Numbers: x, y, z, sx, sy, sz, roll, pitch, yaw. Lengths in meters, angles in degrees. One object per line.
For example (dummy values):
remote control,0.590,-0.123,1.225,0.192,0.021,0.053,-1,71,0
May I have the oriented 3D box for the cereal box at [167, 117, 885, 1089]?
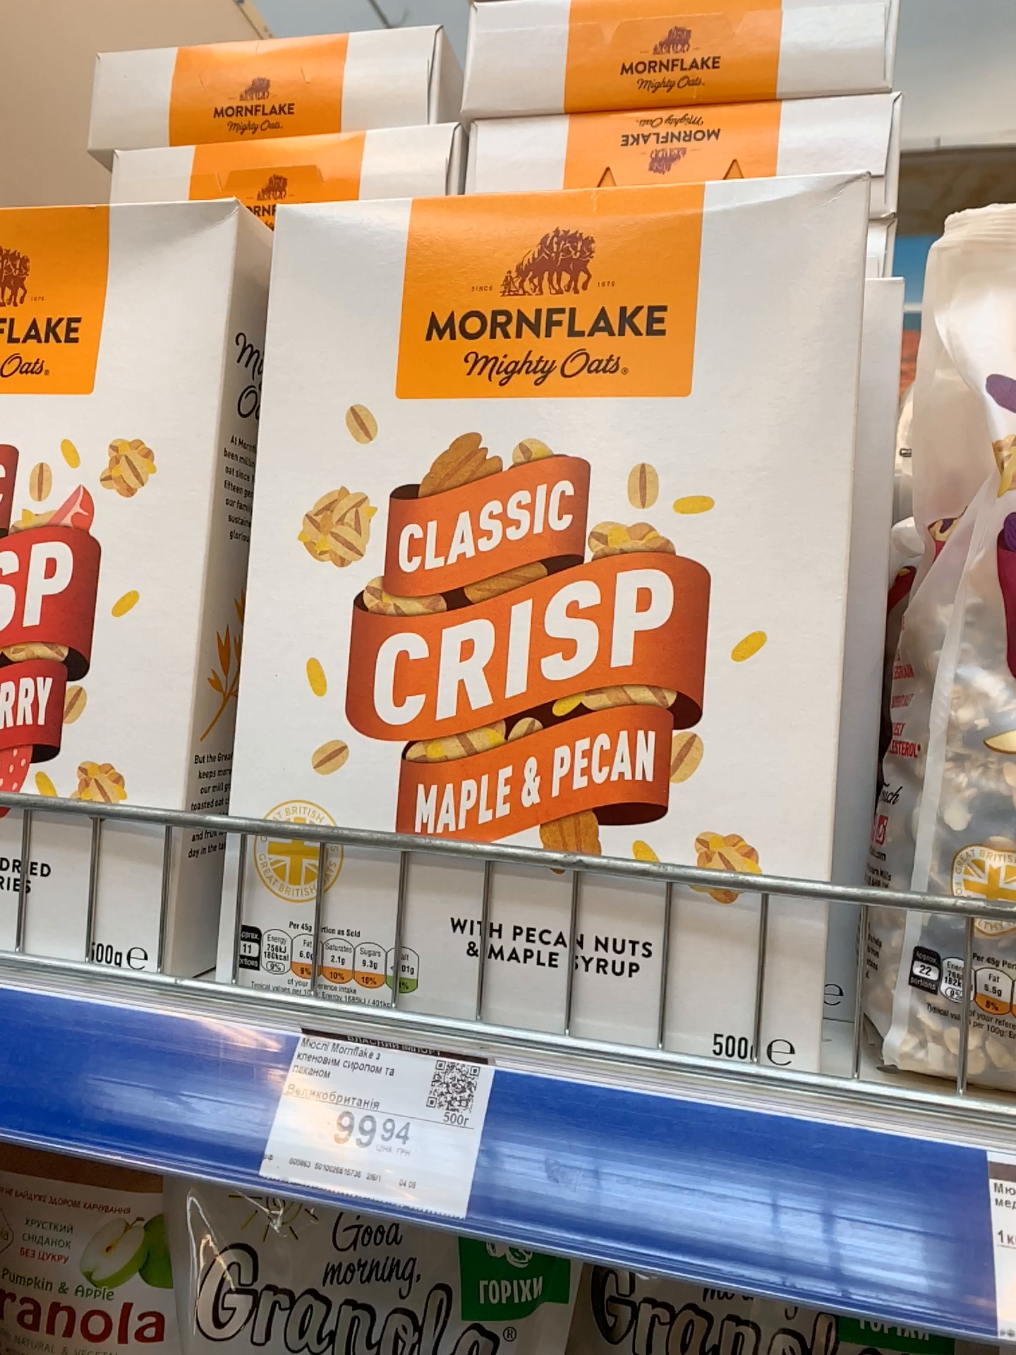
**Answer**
cereal box,0.005,-0.026,0.323,0.190,0.250,0.060,4,-1,15
